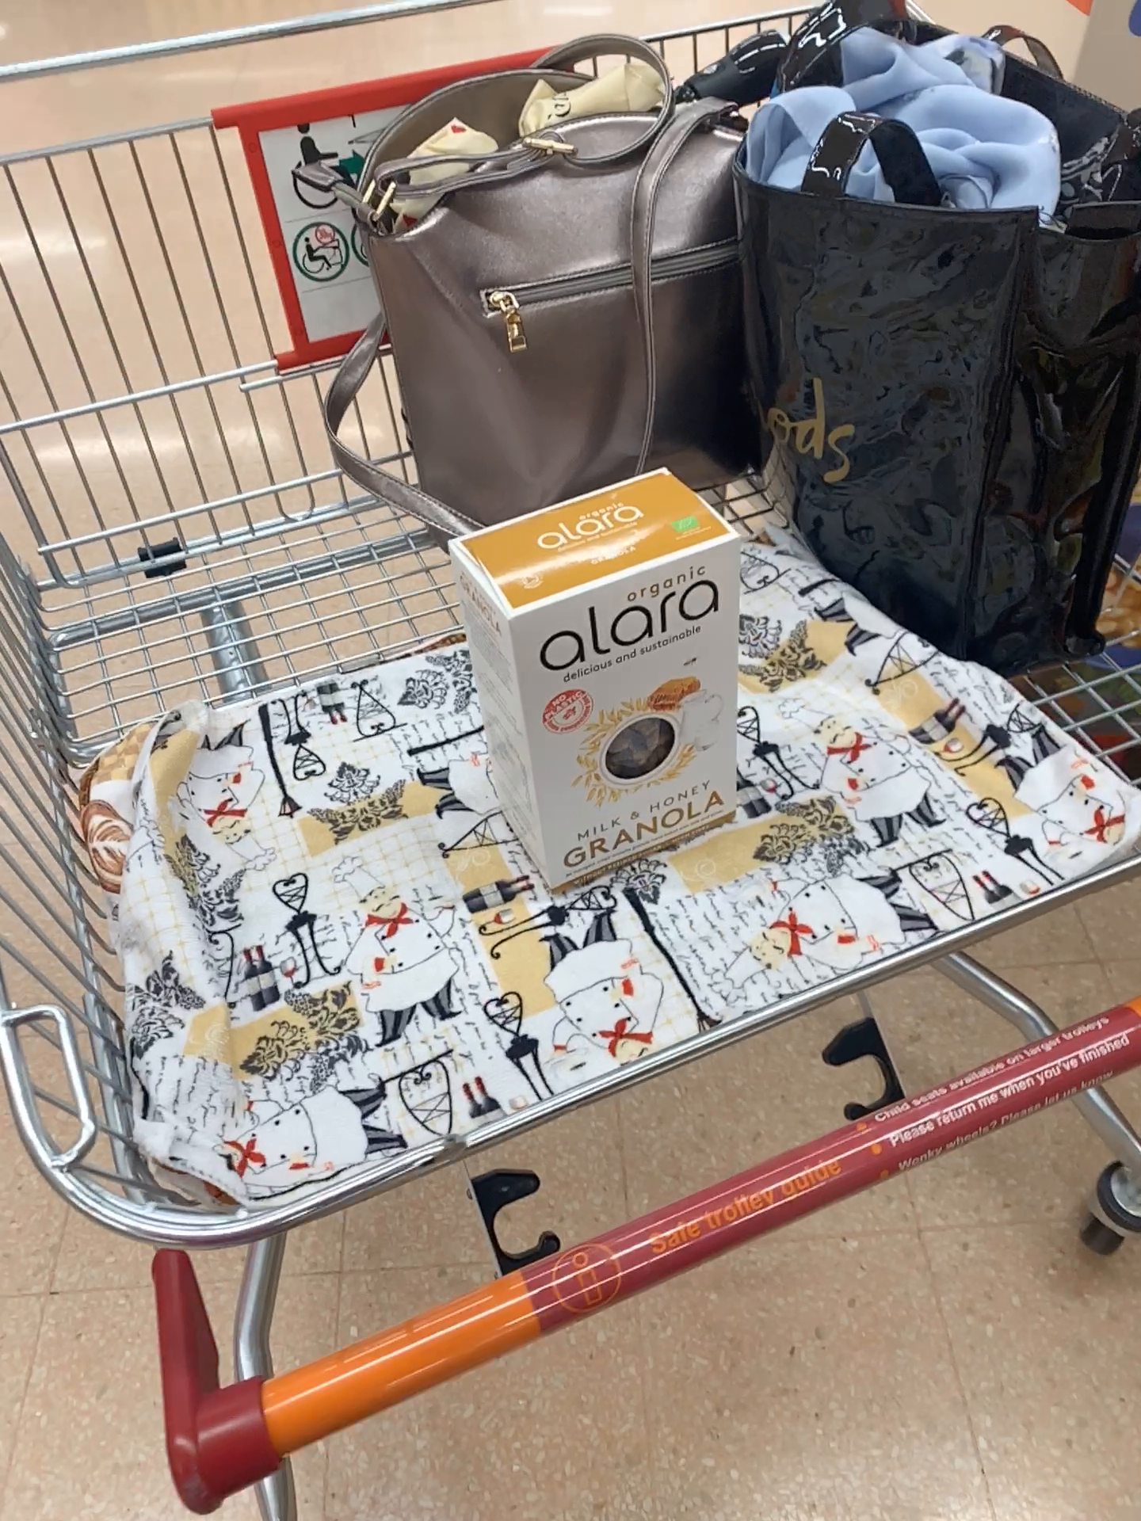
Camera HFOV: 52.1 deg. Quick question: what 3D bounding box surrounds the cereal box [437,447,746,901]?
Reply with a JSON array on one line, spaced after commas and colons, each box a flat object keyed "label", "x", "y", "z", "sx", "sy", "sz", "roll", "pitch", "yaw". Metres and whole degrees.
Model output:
[{"label": "cereal box", "x": 0.015, "y": -0.040, "z": 0.610, "sx": 0.120, "sy": 0.198, "sz": 0.081, "roll": -22, "pitch": 46, "yaw": -17}]
